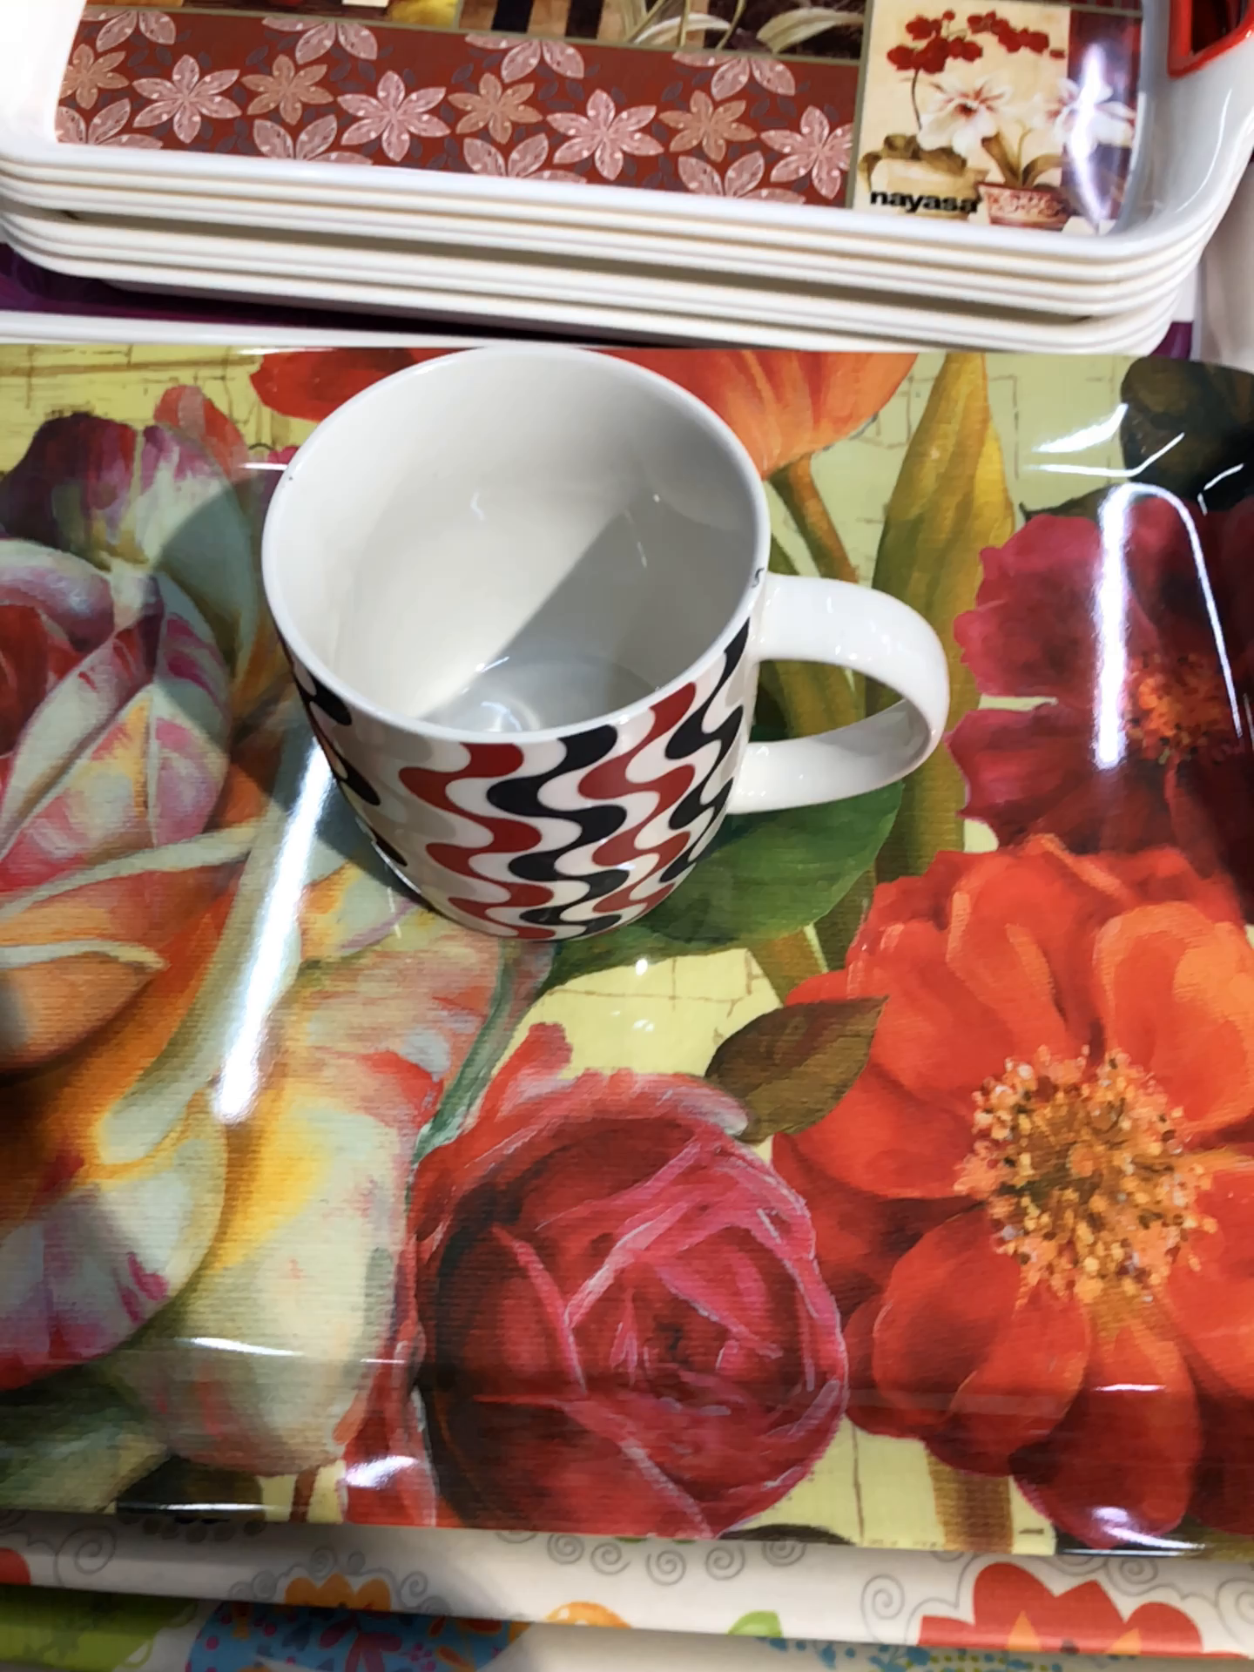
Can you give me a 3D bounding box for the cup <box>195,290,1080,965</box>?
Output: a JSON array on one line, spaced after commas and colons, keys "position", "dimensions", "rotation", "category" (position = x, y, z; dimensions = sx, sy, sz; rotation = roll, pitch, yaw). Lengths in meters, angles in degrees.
[{"position": [0.003, -0.037, 0.262], "dimensions": [0.130, 0.080, 0.090], "rotation": [3, 59, 1], "category": "cup"}]
